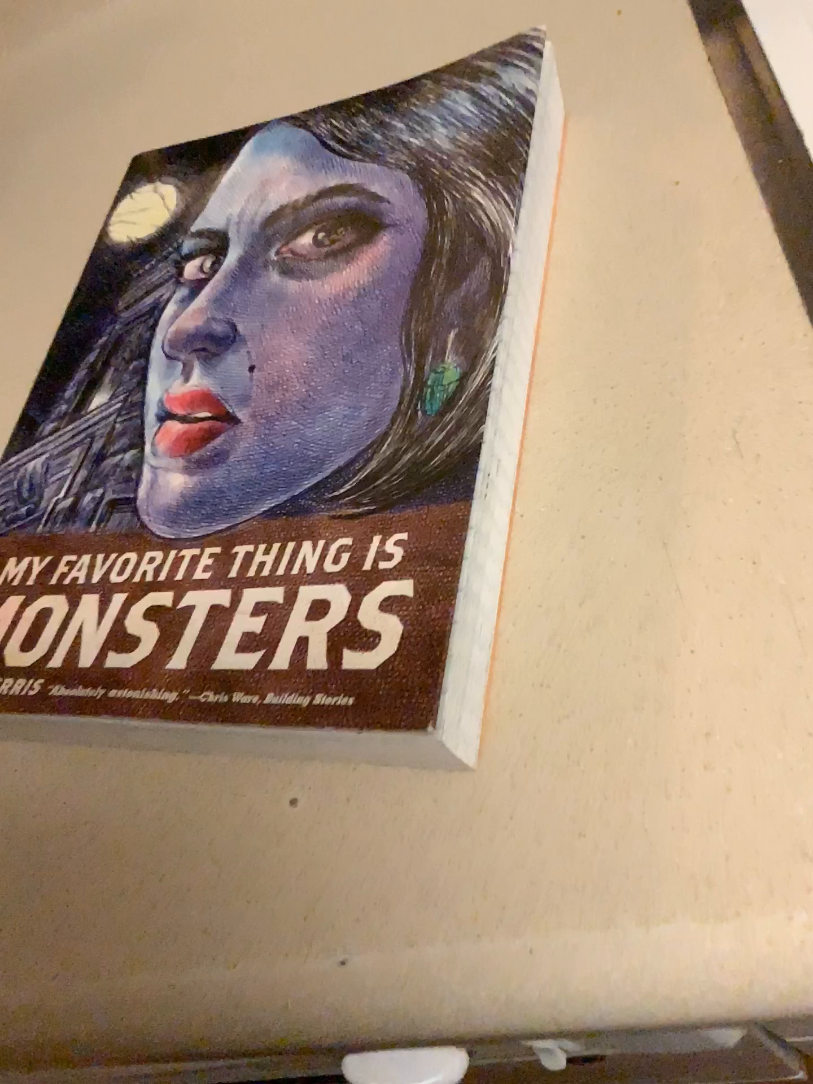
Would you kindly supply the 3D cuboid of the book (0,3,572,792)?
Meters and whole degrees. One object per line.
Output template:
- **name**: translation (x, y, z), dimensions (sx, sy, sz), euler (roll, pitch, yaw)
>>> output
- **book**: translation (-0.055, -0.059, 0.318), dimensions (0.200, 0.040, 0.270), euler (-3, 59, 25)
